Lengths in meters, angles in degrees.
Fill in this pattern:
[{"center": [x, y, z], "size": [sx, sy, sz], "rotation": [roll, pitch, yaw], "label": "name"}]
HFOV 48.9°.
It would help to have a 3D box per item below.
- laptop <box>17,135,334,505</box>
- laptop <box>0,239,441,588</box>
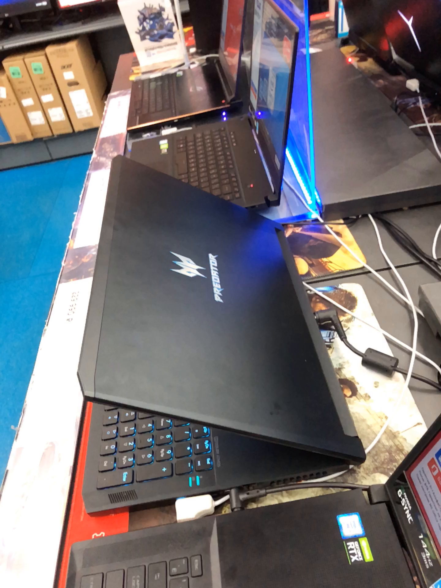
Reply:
[{"center": [-0.038, -0.005, 0.530], "size": [0.226, 0.152, 0.372], "rotation": [-11, 40, 3], "label": "laptop"}, {"center": [0.041, 0.215, 0.185], "size": [0.362, 0.236, 0.373], "rotation": [-11, 40, 3], "label": "laptop"}]
